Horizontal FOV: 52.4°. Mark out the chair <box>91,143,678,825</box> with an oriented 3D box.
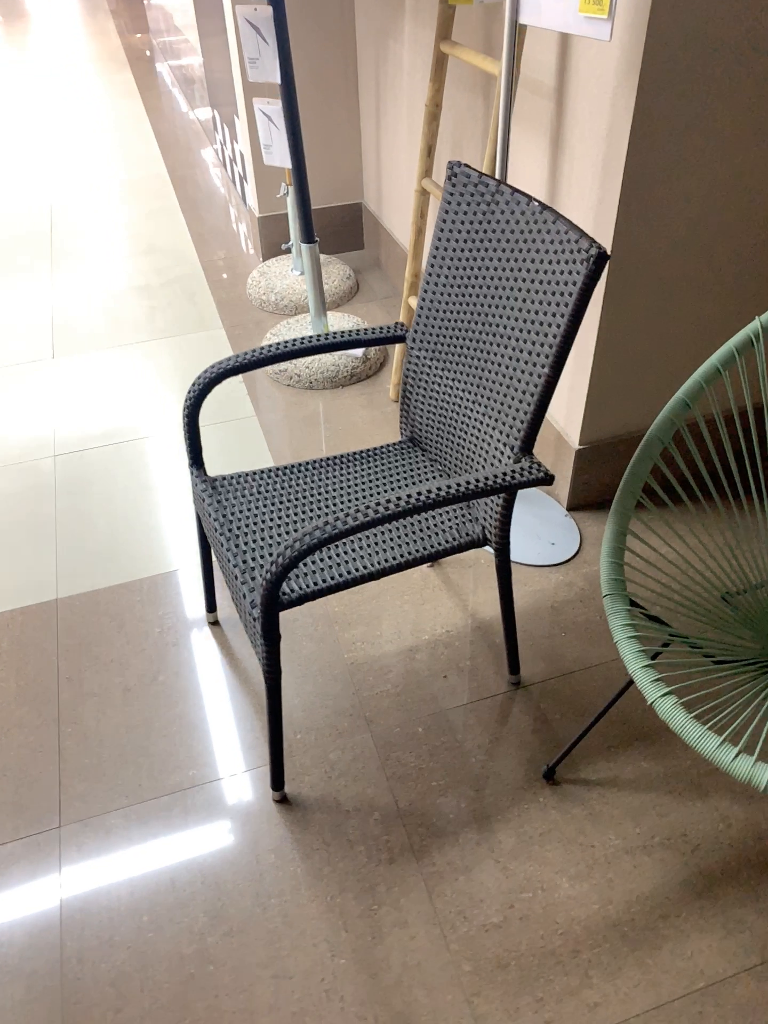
[{"bbox_3d":[-0.032,-0.055,1.466,0.680,0.955,0.623,-17,43,-17],"label":"chair"}]
